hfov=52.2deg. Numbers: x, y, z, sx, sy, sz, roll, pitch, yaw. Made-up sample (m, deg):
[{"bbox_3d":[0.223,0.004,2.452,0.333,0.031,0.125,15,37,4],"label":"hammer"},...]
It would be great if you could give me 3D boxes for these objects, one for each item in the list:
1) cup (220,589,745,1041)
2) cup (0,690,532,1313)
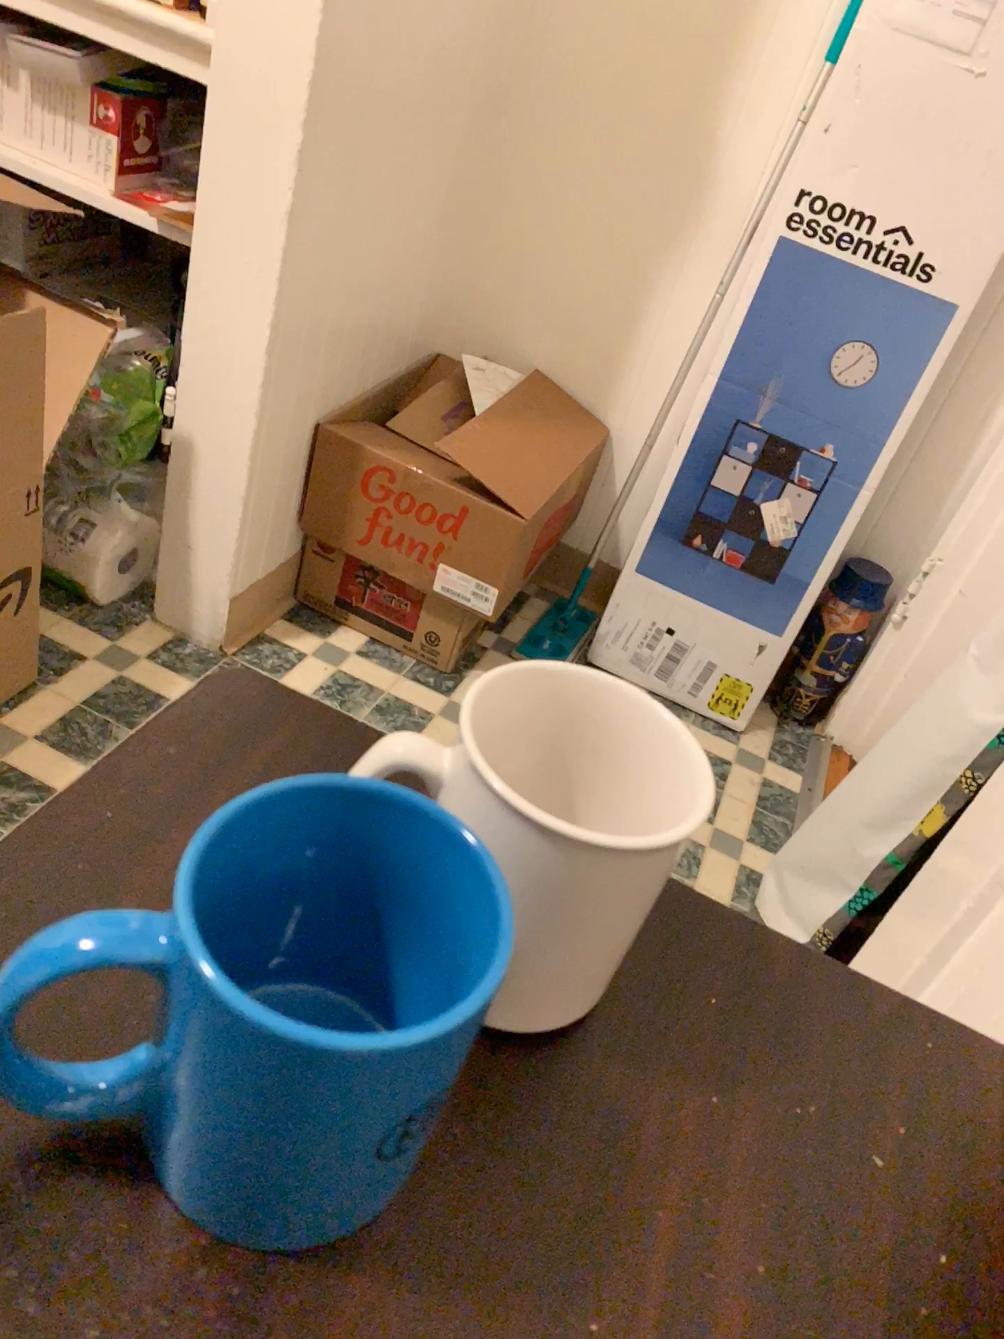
[{"bbox_3d":[-0.015,0.049,0.328,0.130,0.099,0.090,7,37,-17],"label":"cup"},{"bbox_3d":[-0.082,0.078,0.249,0.140,0.099,0.090,6,37,-19],"label":"cup"}]
